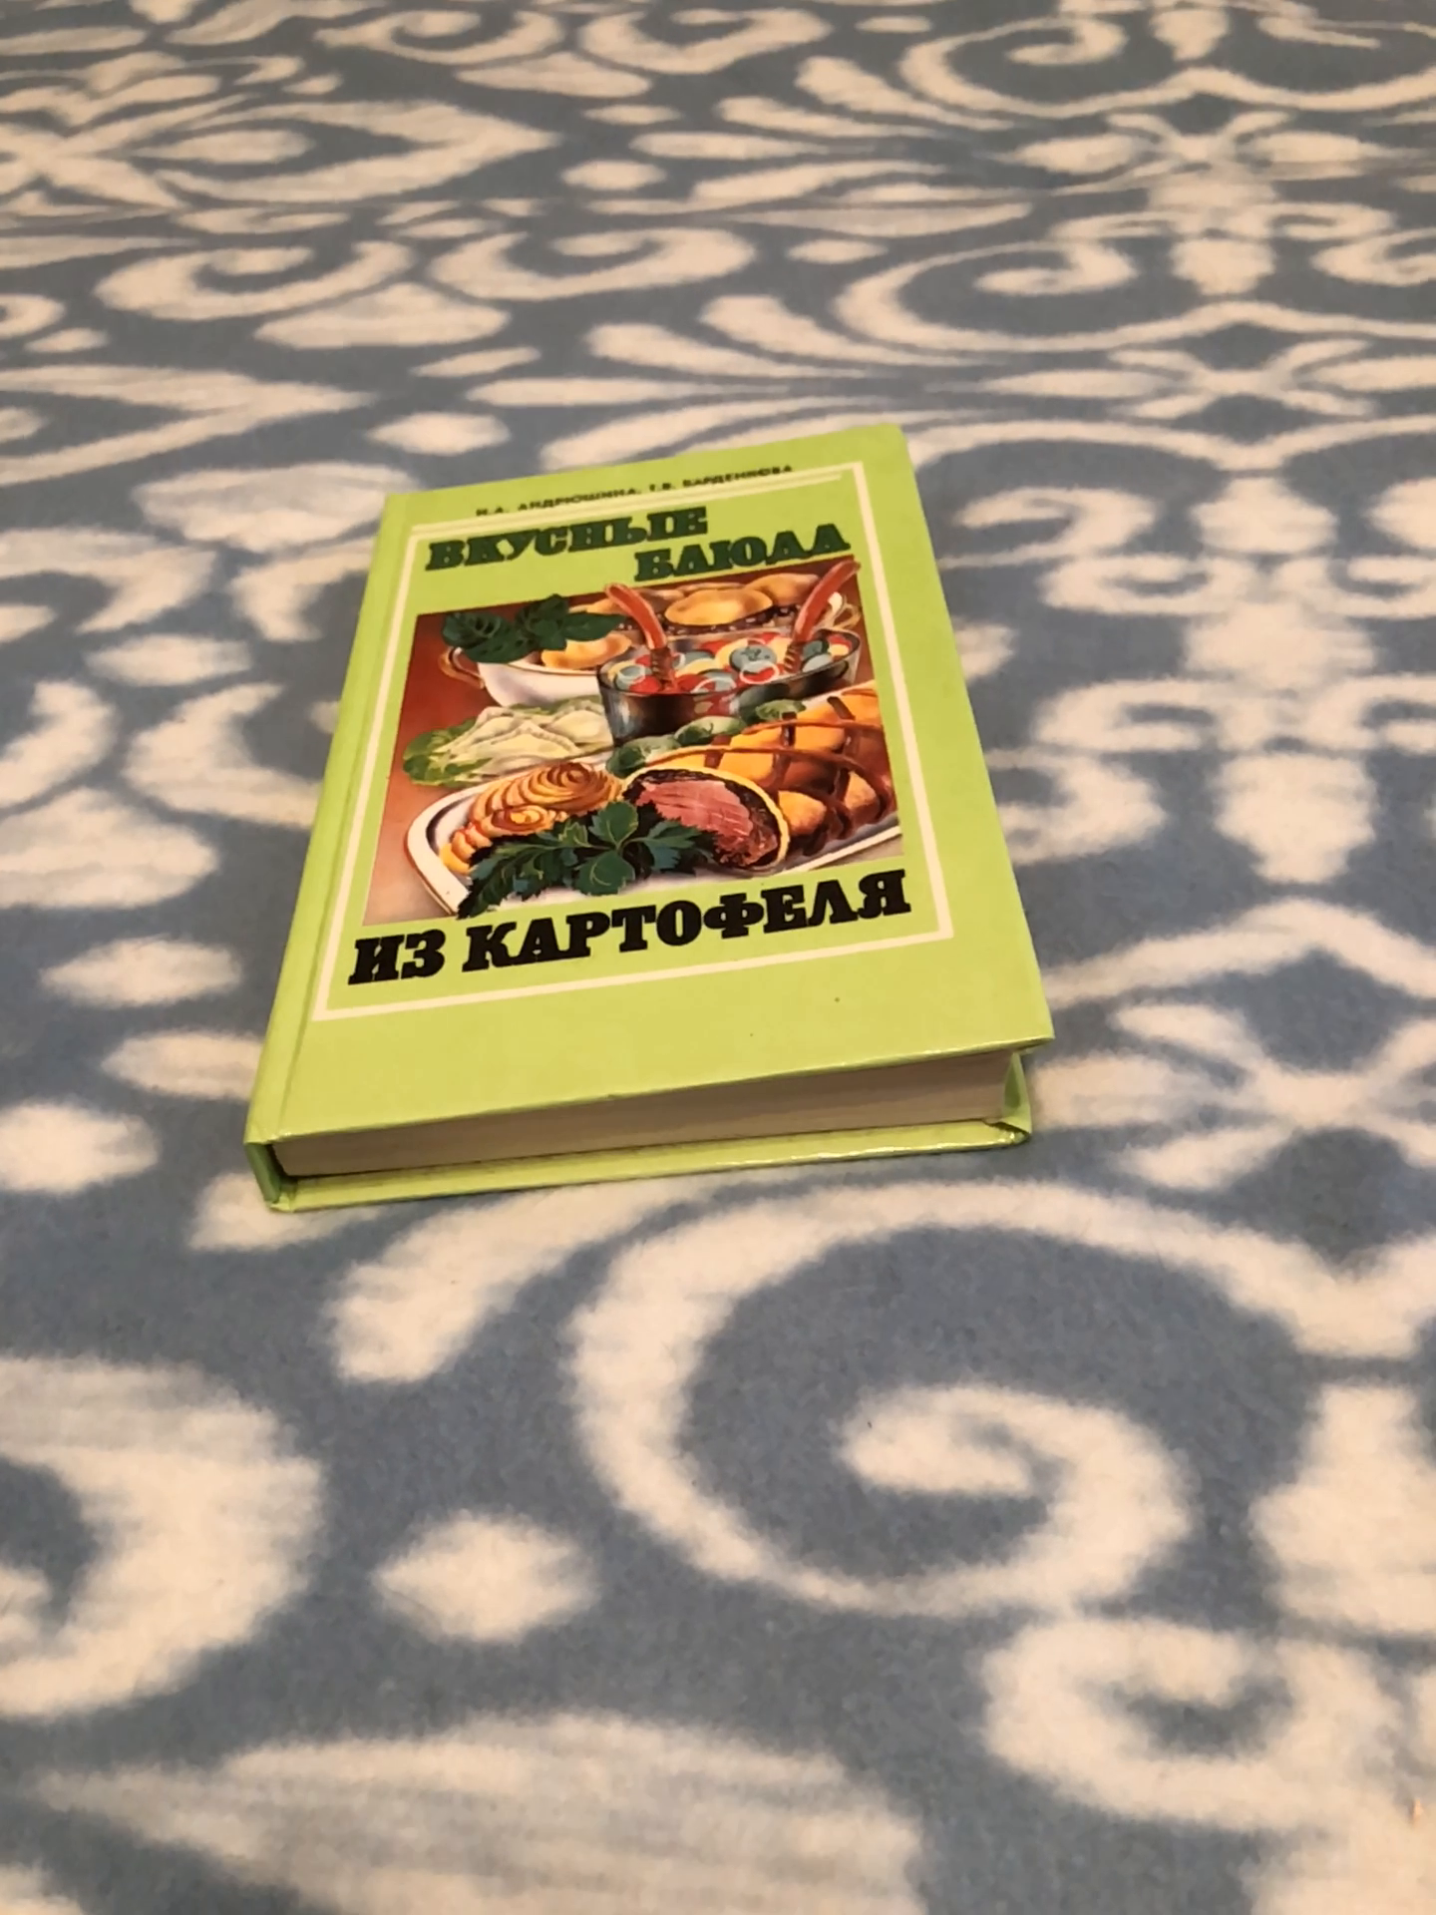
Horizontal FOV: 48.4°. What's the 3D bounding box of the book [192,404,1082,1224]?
[{"bbox_3d":[-0.015,-0.044,0.320,0.135,0.025,0.202,-7,44,4],"label":"book"}]
